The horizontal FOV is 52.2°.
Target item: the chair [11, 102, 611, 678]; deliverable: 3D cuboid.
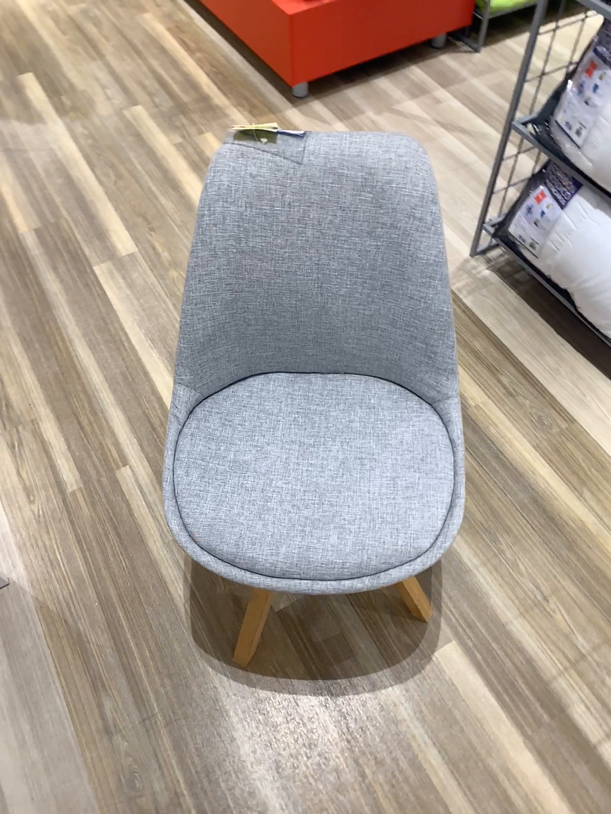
[{"bbox_3d":[0.034,0.069,0.999,0.513,0.857,0.517,1,57,2],"label":"chair"}]
